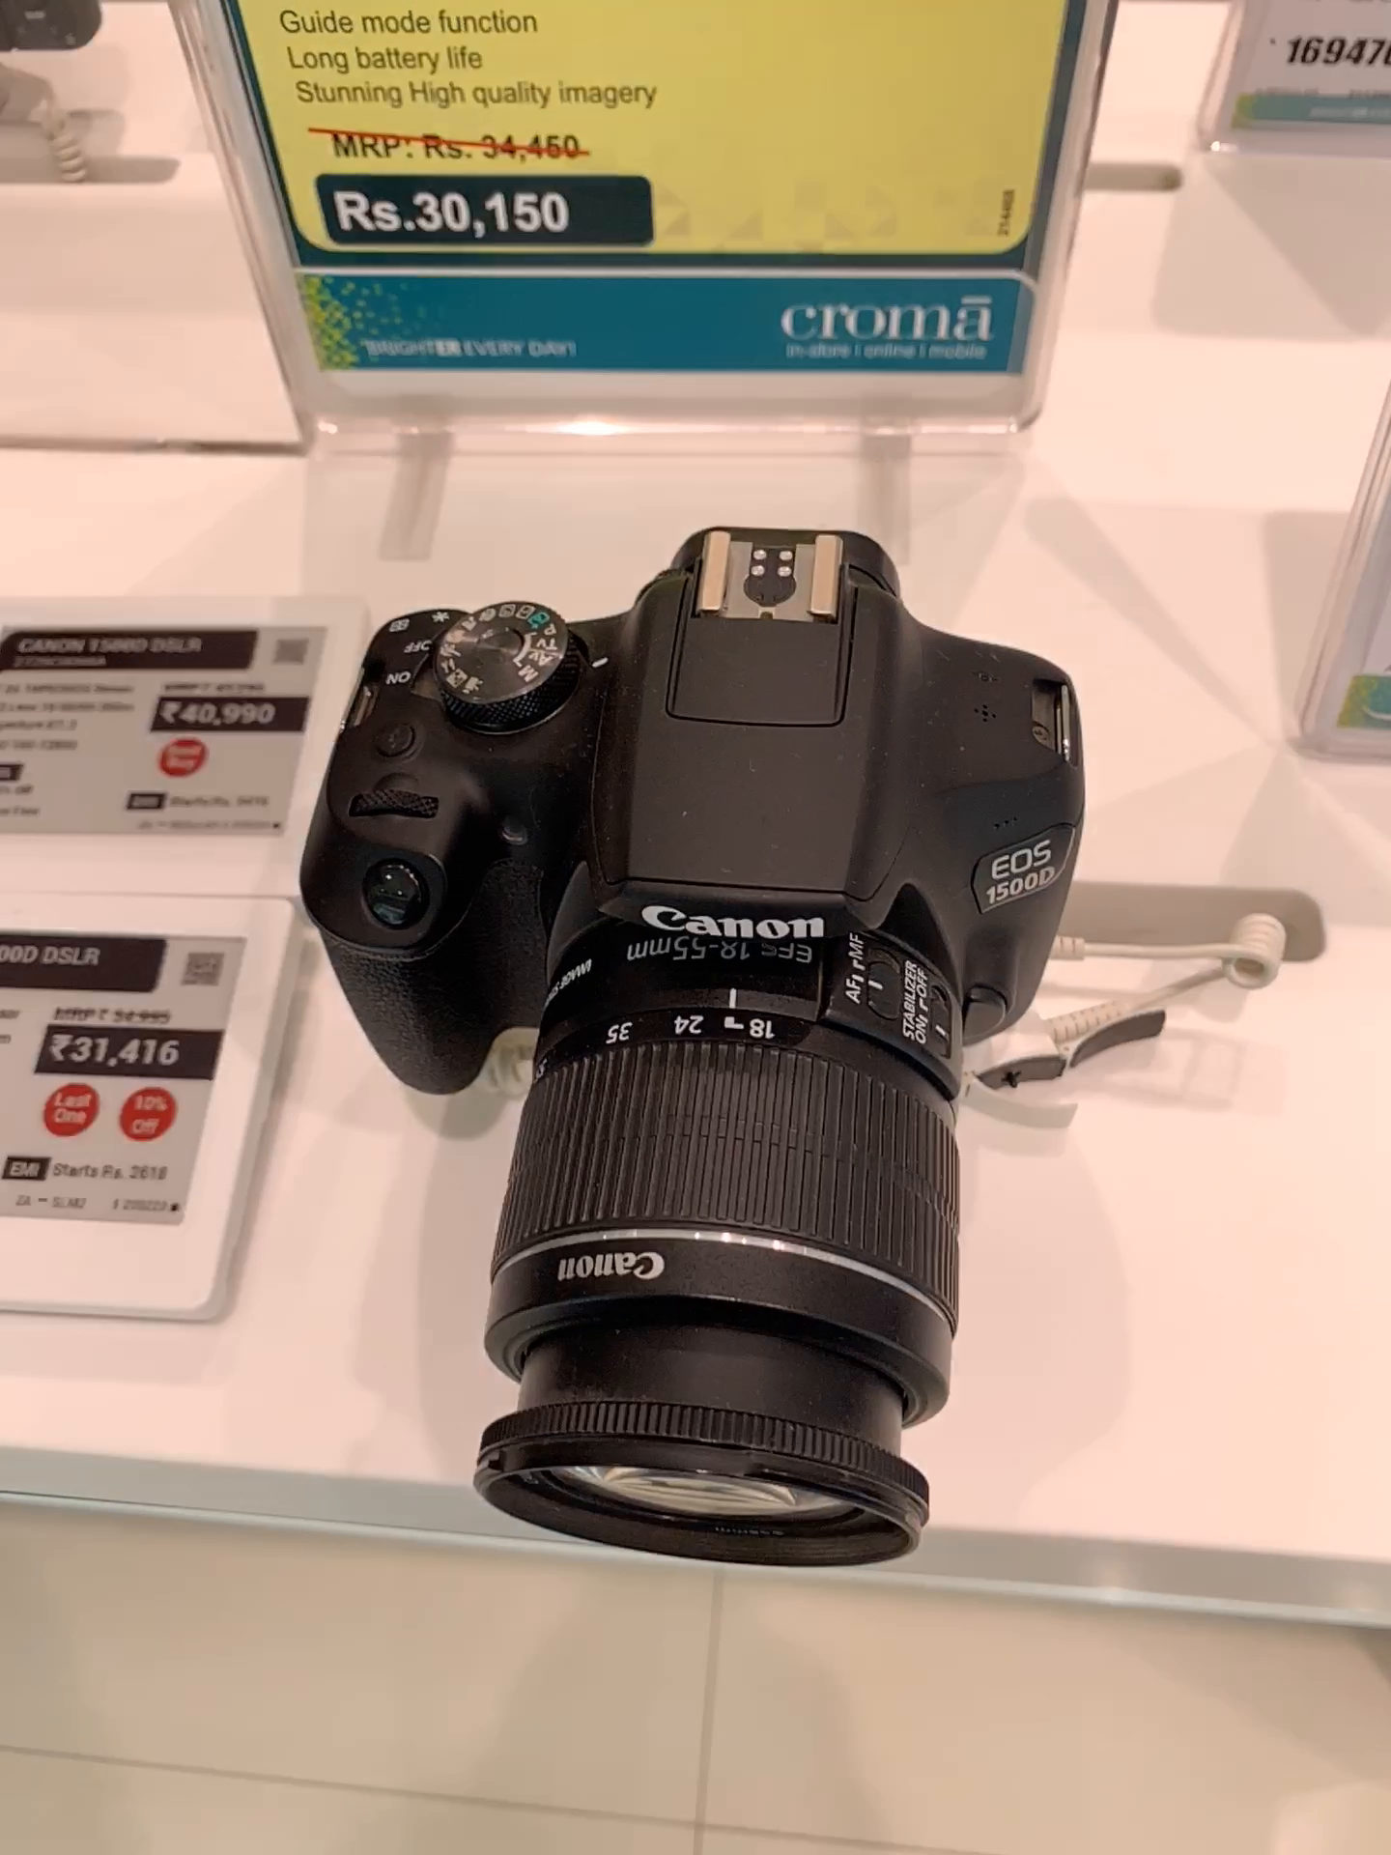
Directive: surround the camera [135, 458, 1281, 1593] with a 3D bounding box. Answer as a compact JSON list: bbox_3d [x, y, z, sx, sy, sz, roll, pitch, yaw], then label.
[{"bbox_3d":[0.008,0.012,0.211,0.110,0.090,0.130,4,56,5],"label":"camera"}]
